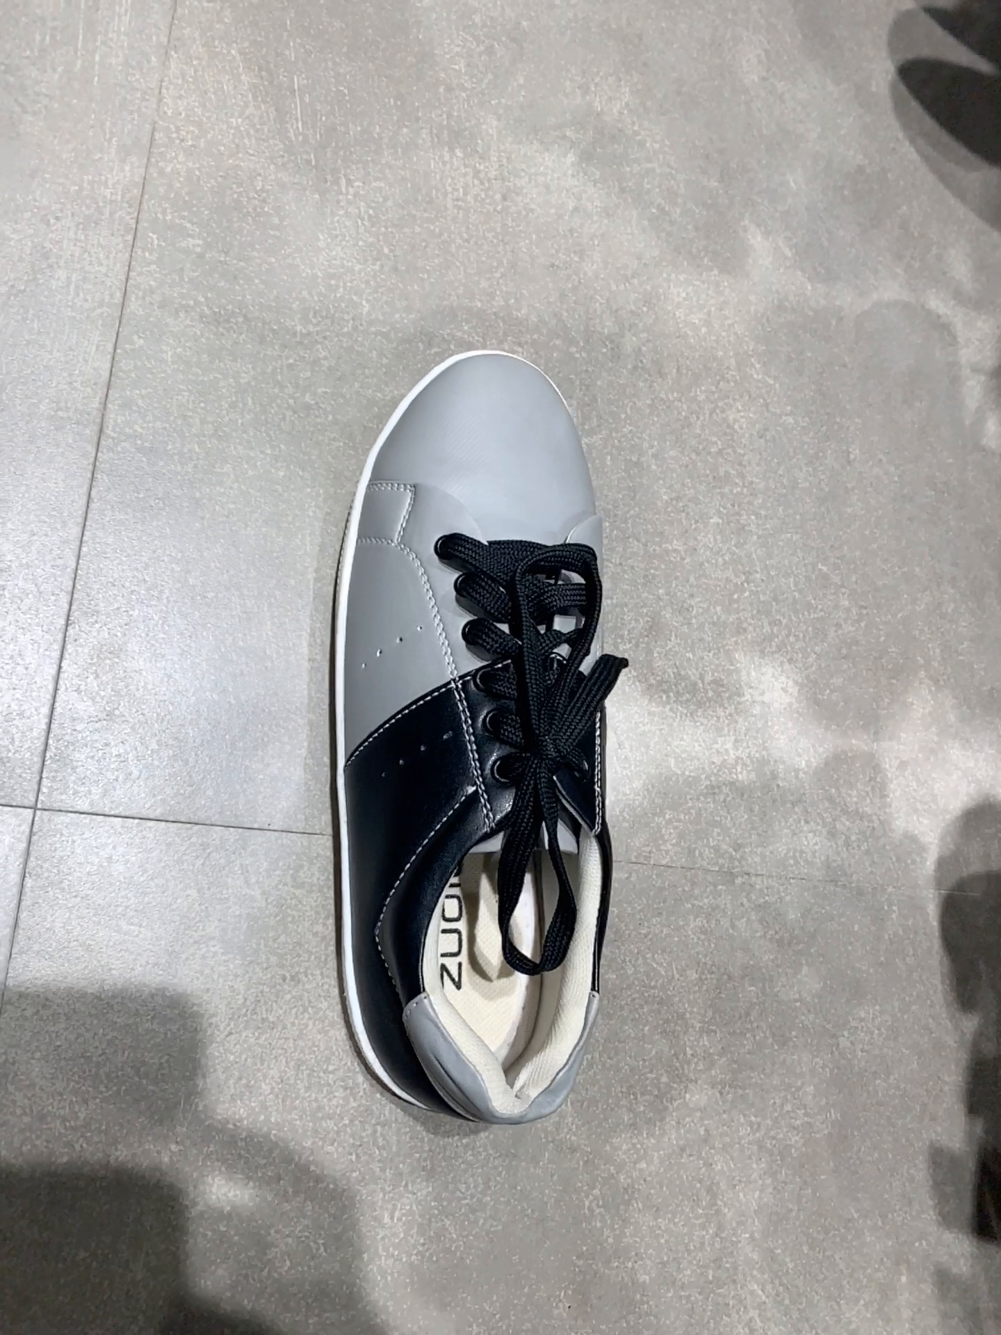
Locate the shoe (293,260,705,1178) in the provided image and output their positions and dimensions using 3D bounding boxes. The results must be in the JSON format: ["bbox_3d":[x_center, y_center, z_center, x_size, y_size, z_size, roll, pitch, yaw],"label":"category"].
[{"bbox_3d":[-0.006,0.015,0.350,0.101,0.093,0.263,5,76,-21],"label":"shoe"}]
